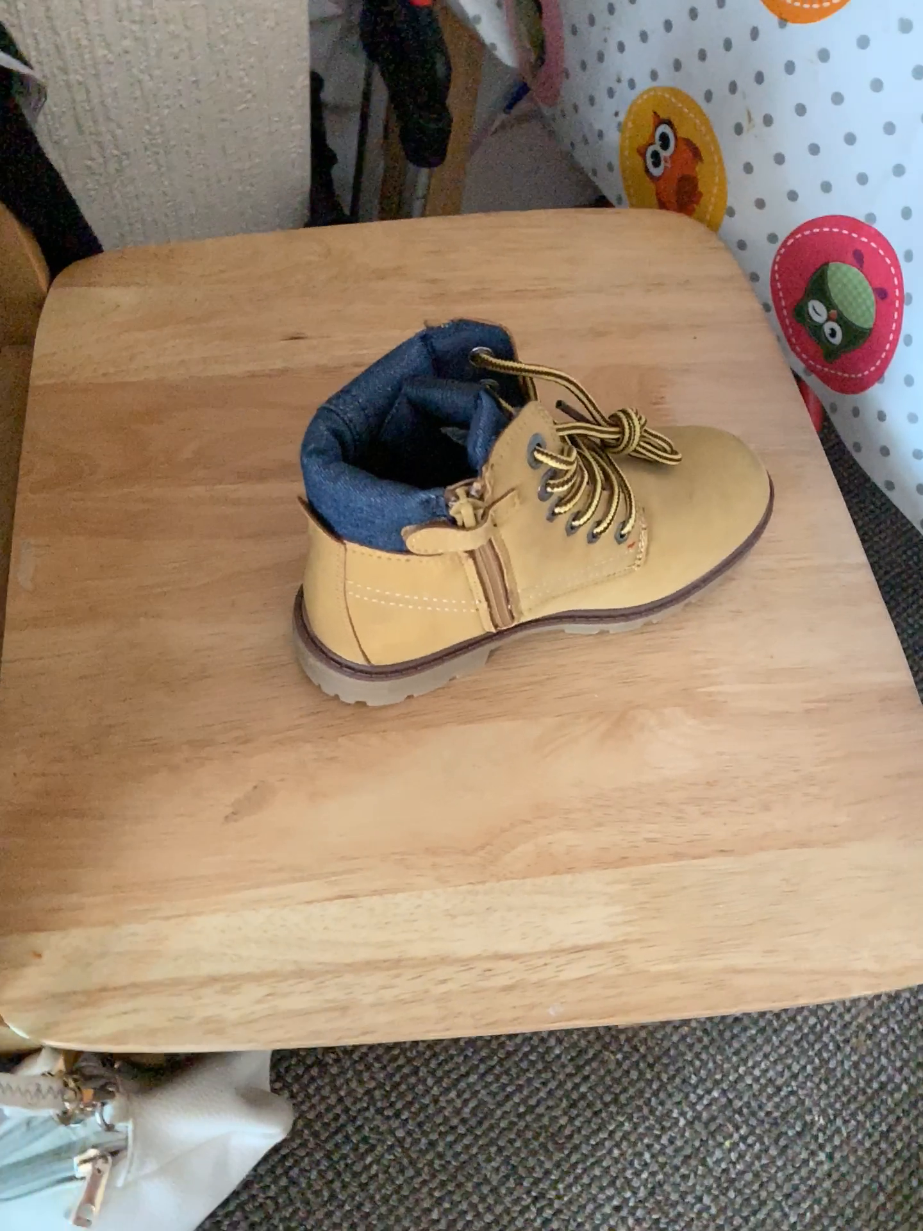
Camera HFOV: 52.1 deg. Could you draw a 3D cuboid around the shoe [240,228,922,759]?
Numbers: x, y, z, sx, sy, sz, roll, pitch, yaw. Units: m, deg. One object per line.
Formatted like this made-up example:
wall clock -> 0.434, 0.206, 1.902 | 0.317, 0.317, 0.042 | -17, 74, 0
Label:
shoe -> 0.043, -0.047, 0.385 | 0.230, 0.139, 0.100 | -18, 67, -17
